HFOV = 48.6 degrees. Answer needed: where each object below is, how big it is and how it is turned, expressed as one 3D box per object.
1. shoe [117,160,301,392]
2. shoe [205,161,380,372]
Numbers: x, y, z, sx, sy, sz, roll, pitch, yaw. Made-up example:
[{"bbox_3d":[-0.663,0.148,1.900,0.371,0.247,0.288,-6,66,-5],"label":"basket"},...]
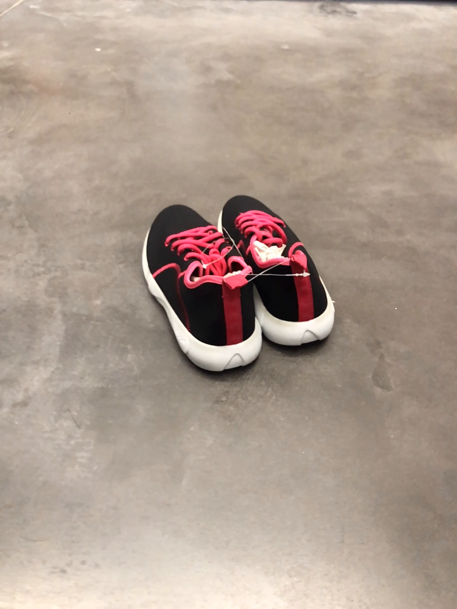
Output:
[{"bbox_3d":[-0.031,-0.043,0.495,0.100,0.089,0.231,-13,44,-16],"label":"shoe"},{"bbox_3d":[0.050,-0.054,0.532,0.100,0.089,0.231,-9,43,-12],"label":"shoe"}]
